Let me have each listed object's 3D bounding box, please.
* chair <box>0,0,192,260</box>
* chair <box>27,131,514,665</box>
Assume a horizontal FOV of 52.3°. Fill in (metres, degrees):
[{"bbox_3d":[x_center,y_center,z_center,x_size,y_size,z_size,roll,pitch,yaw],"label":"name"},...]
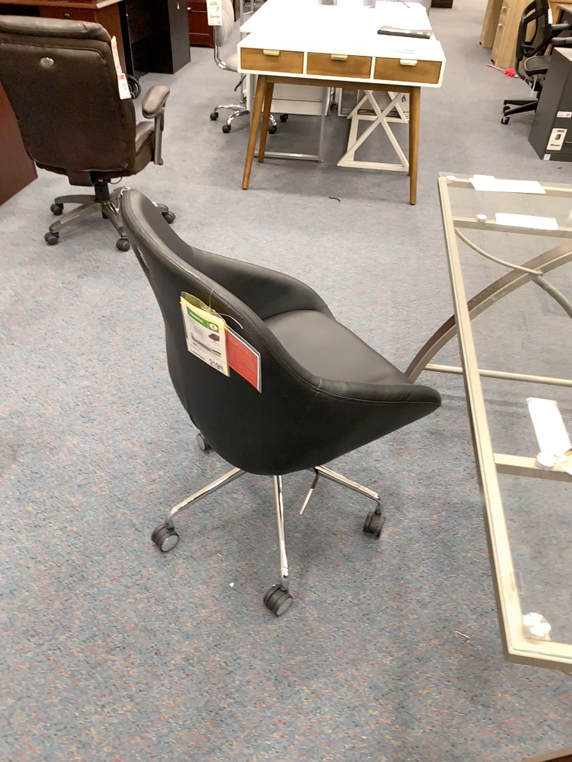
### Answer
[{"bbox_3d":[-0.892,-1.197,2.686,0.727,0.923,0.858,3,39,0],"label":"chair"},{"bbox_3d":[-0.075,-0.001,1.340,0.655,0.844,0.659,-20,44,-25],"label":"chair"}]
